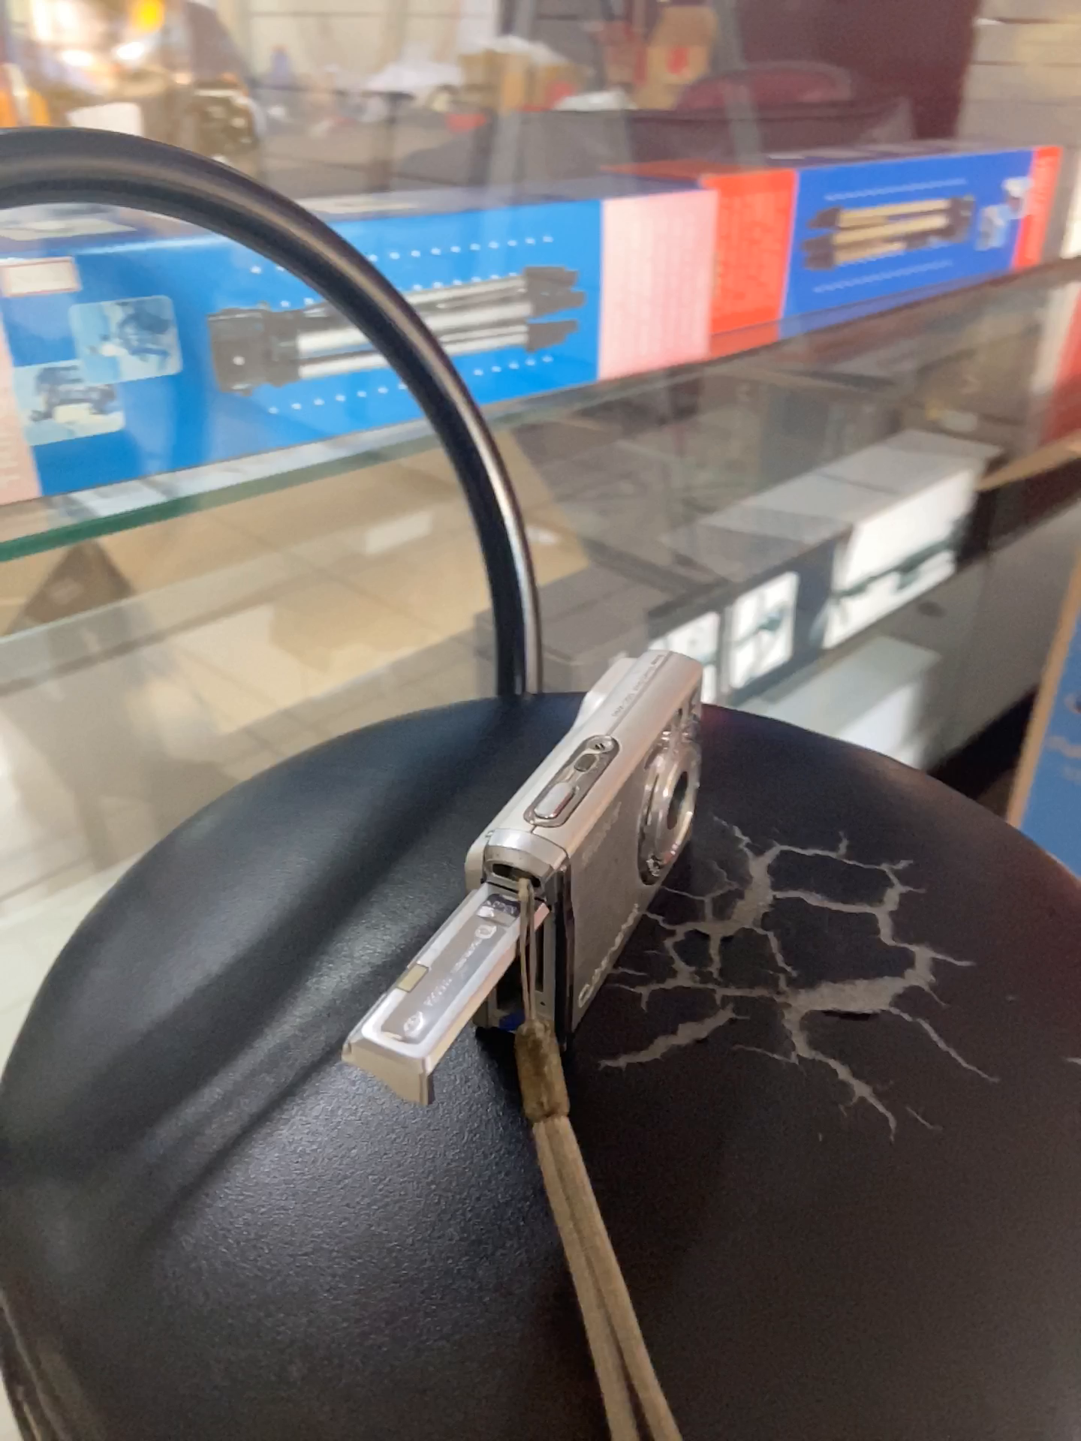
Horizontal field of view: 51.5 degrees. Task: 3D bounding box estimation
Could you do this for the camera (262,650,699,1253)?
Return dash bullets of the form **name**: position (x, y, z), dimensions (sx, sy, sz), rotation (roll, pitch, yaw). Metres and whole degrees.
- **camera**: position (-0.003, 0.039, 0.248), dimensions (0.030, 0.053, 0.137), rotation (14, 33, 22)
